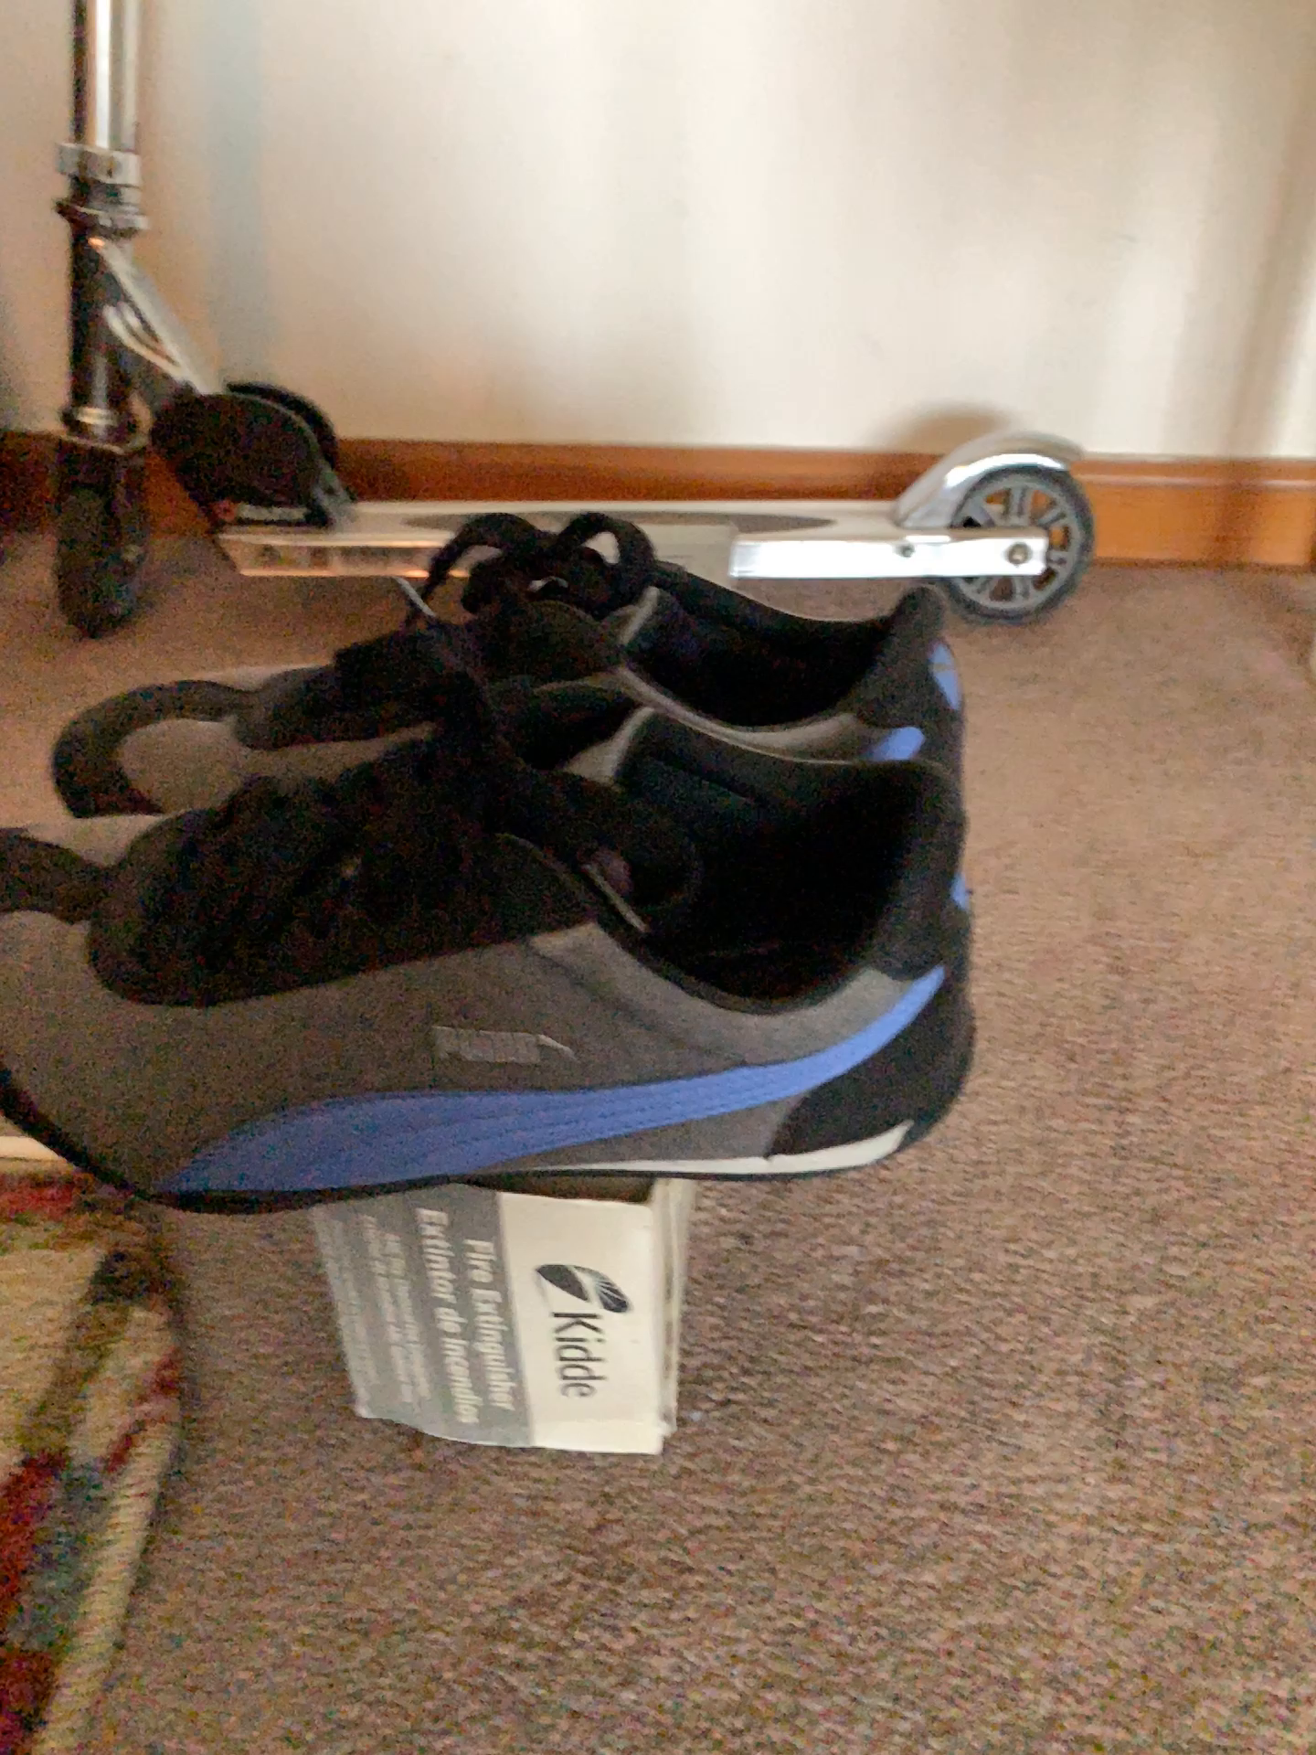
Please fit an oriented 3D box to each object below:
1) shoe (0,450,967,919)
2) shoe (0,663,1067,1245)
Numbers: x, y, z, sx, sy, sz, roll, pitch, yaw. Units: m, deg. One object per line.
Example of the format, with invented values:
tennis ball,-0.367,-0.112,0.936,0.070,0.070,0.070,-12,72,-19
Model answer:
shoe,-0.044,-0.054,0.373,0.240,0.077,0.111,0,38,7
shoe,-0.050,0.010,0.300,0.250,0.077,0.101,1,33,6
